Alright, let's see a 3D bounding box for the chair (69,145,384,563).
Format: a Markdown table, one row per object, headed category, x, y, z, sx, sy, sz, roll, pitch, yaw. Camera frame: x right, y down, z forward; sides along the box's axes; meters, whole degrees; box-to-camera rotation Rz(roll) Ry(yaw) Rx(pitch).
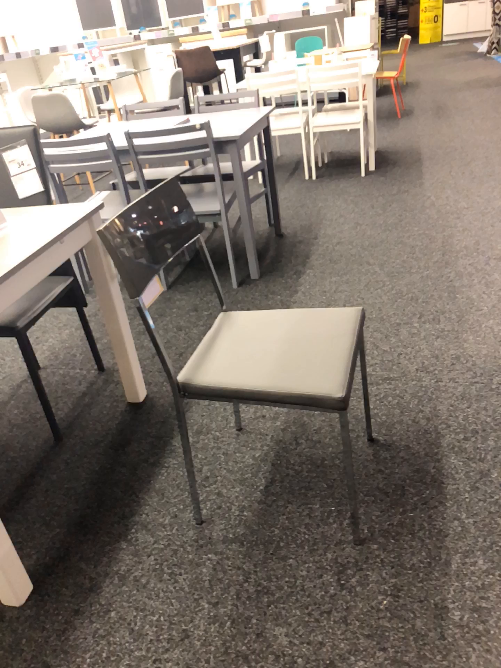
| category | x | y | z | sx | sy | sz | roll | pitch | yaw |
| --- | --- | --- | --- | --- | --- | --- | --- | --- | --- |
| chair | 0.036 | 0.044 | 1.377 | 0.549 | 0.855 | 0.493 | 1 | 30 | 16 |
